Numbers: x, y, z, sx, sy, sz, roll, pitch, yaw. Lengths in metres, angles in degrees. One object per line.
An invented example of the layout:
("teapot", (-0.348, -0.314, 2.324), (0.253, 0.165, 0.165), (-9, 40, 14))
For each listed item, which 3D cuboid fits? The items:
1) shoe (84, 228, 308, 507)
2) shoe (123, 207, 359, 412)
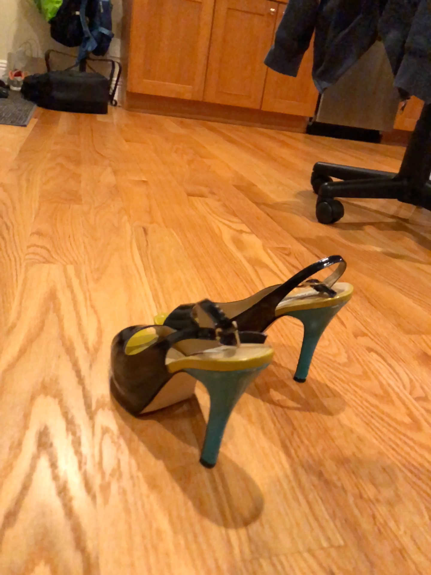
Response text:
("shoe", (-0.035, 0.044, 0.388), (0.085, 0.121, 0.205), (-6, 28, -31))
("shoe", (0.022, 0.014, 0.473), (0.201, 0.131, 0.085), (16, 25, 15))
